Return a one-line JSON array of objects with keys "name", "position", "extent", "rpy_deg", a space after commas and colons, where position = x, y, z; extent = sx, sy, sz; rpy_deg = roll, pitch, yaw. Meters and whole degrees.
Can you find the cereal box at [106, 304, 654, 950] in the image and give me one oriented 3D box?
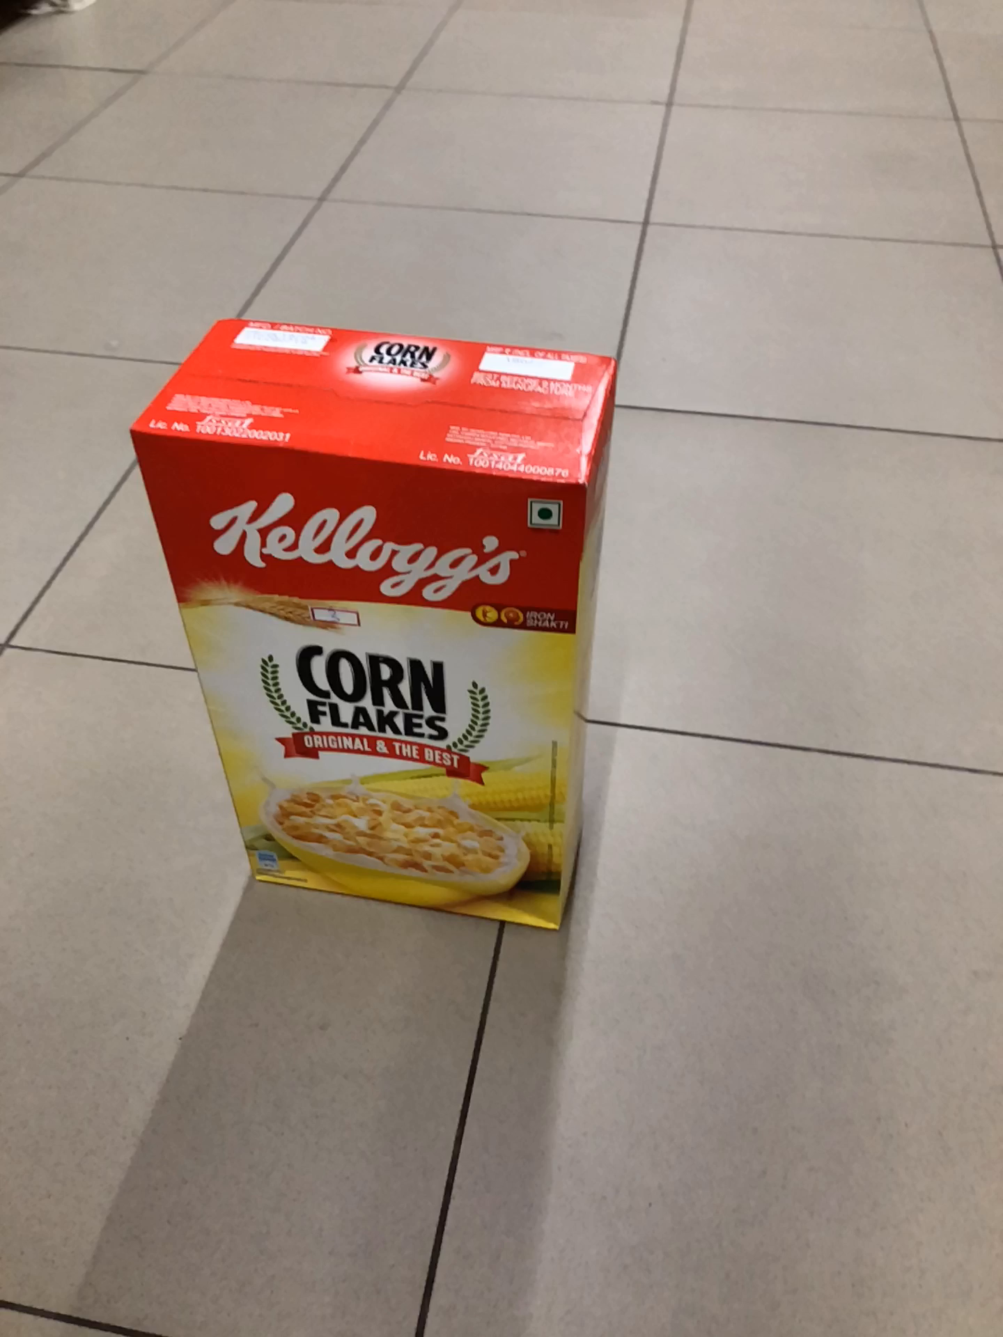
[{"name": "cereal box", "position": [-0.042, -0.002, 0.556], "extent": [0.200, 0.318, 0.101], "rpy_deg": [7, 46, 8]}]
